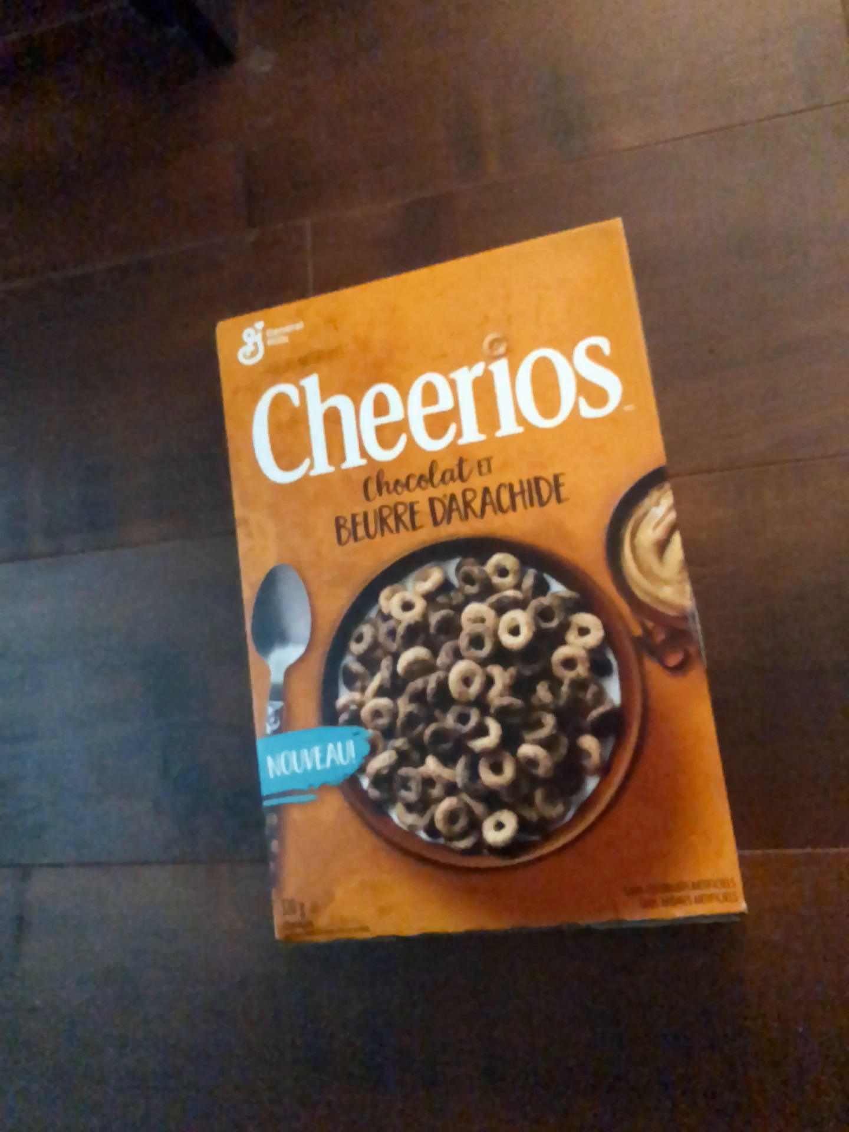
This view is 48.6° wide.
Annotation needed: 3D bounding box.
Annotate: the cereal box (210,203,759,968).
[{"bbox_3d":[0.019,0.013,0.431,0.200,0.060,0.300,-10,80,16],"label":"cereal box"}]
